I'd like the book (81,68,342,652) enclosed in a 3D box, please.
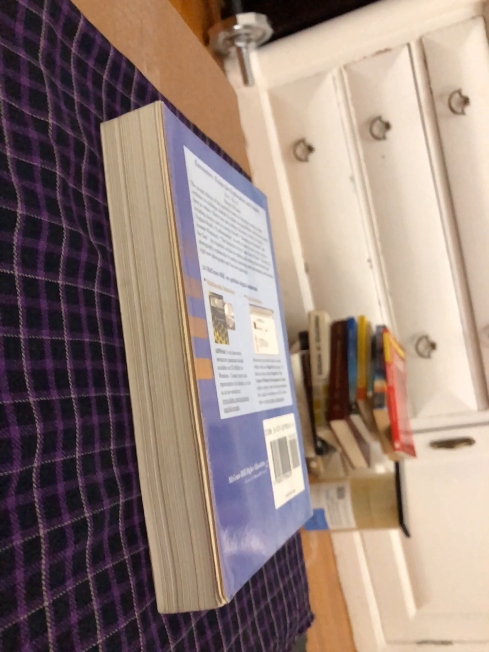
[{"bbox_3d":[-0.004,0.015,0.311,0.181,0.040,0.240,7,73,-68],"label":"book"}]
